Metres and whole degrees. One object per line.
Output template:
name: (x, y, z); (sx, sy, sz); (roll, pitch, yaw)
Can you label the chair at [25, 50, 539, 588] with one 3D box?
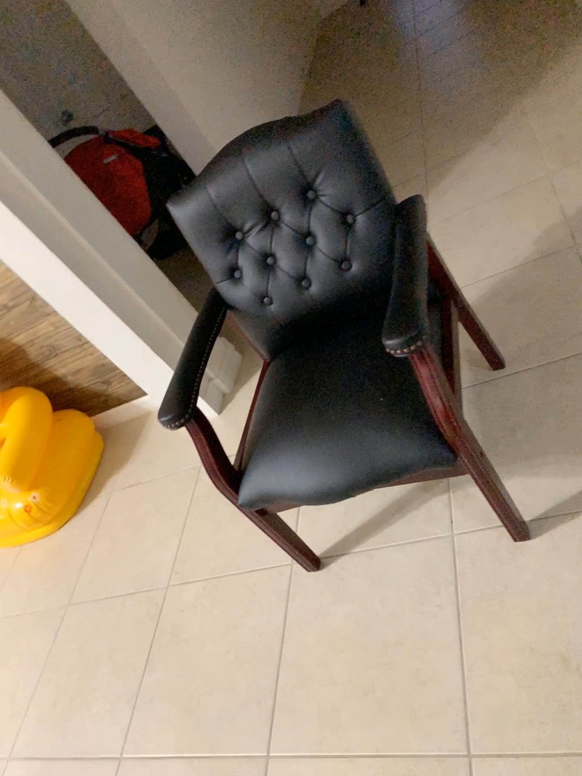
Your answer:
chair: (0.072, -0.082, 1.398); (0.631, 0.909, 0.660); (-19, 40, 28)
